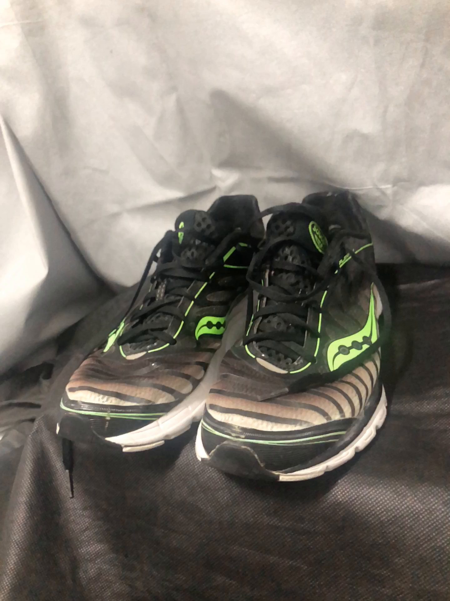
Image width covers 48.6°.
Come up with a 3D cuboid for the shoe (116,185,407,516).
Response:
[{"bbox_3d":[0.049,0.007,0.340,0.114,0.097,0.225,4,31,26],"label":"shoe"}]

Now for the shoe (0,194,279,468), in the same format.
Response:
[{"bbox_3d":[-0.055,0.001,0.395,0.117,0.096,0.225,4,31,26],"label":"shoe"}]
